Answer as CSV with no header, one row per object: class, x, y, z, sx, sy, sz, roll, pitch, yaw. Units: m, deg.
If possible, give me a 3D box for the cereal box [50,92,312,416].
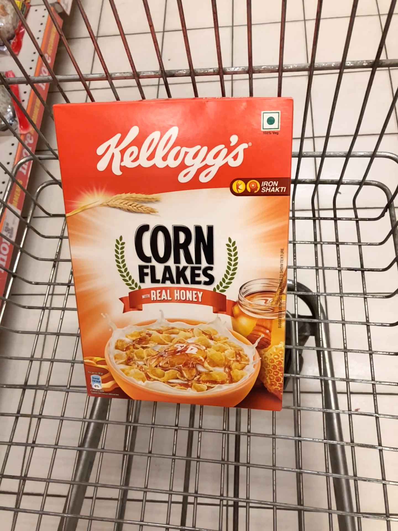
cereal box,-0.009,-0.010,0.390,0.190,0.080,0.259,2,108,9
